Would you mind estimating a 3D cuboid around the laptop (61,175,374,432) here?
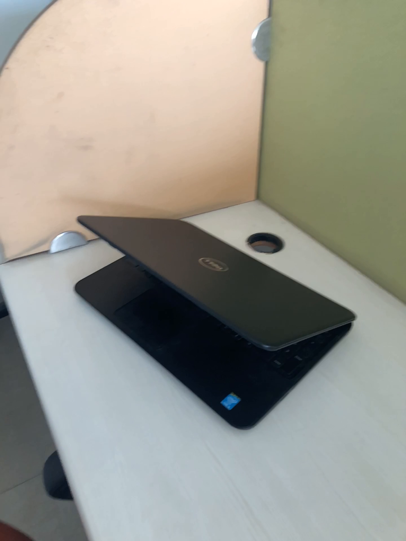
[{"bbox_3d":[0.007,0.009,0.652,0.248,0.106,0.367,-32,47,-33],"label":"laptop"}]
